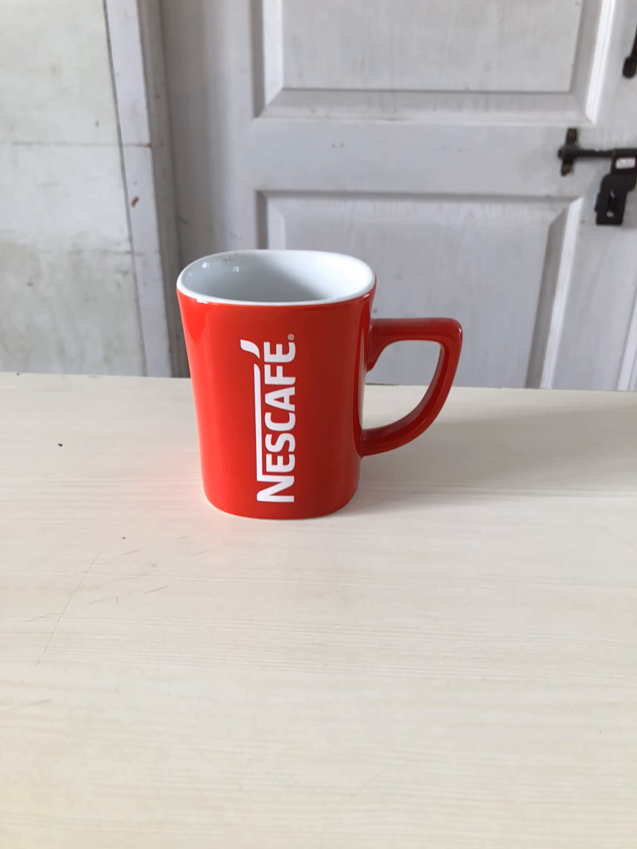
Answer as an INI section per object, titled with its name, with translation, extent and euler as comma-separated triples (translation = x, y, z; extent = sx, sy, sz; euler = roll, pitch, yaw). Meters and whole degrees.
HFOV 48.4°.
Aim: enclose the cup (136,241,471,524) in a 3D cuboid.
[cup]
translation = -0.005, -0.020, 0.289
extent = 0.110, 0.089, 0.080
euler = 0, 27, -1
